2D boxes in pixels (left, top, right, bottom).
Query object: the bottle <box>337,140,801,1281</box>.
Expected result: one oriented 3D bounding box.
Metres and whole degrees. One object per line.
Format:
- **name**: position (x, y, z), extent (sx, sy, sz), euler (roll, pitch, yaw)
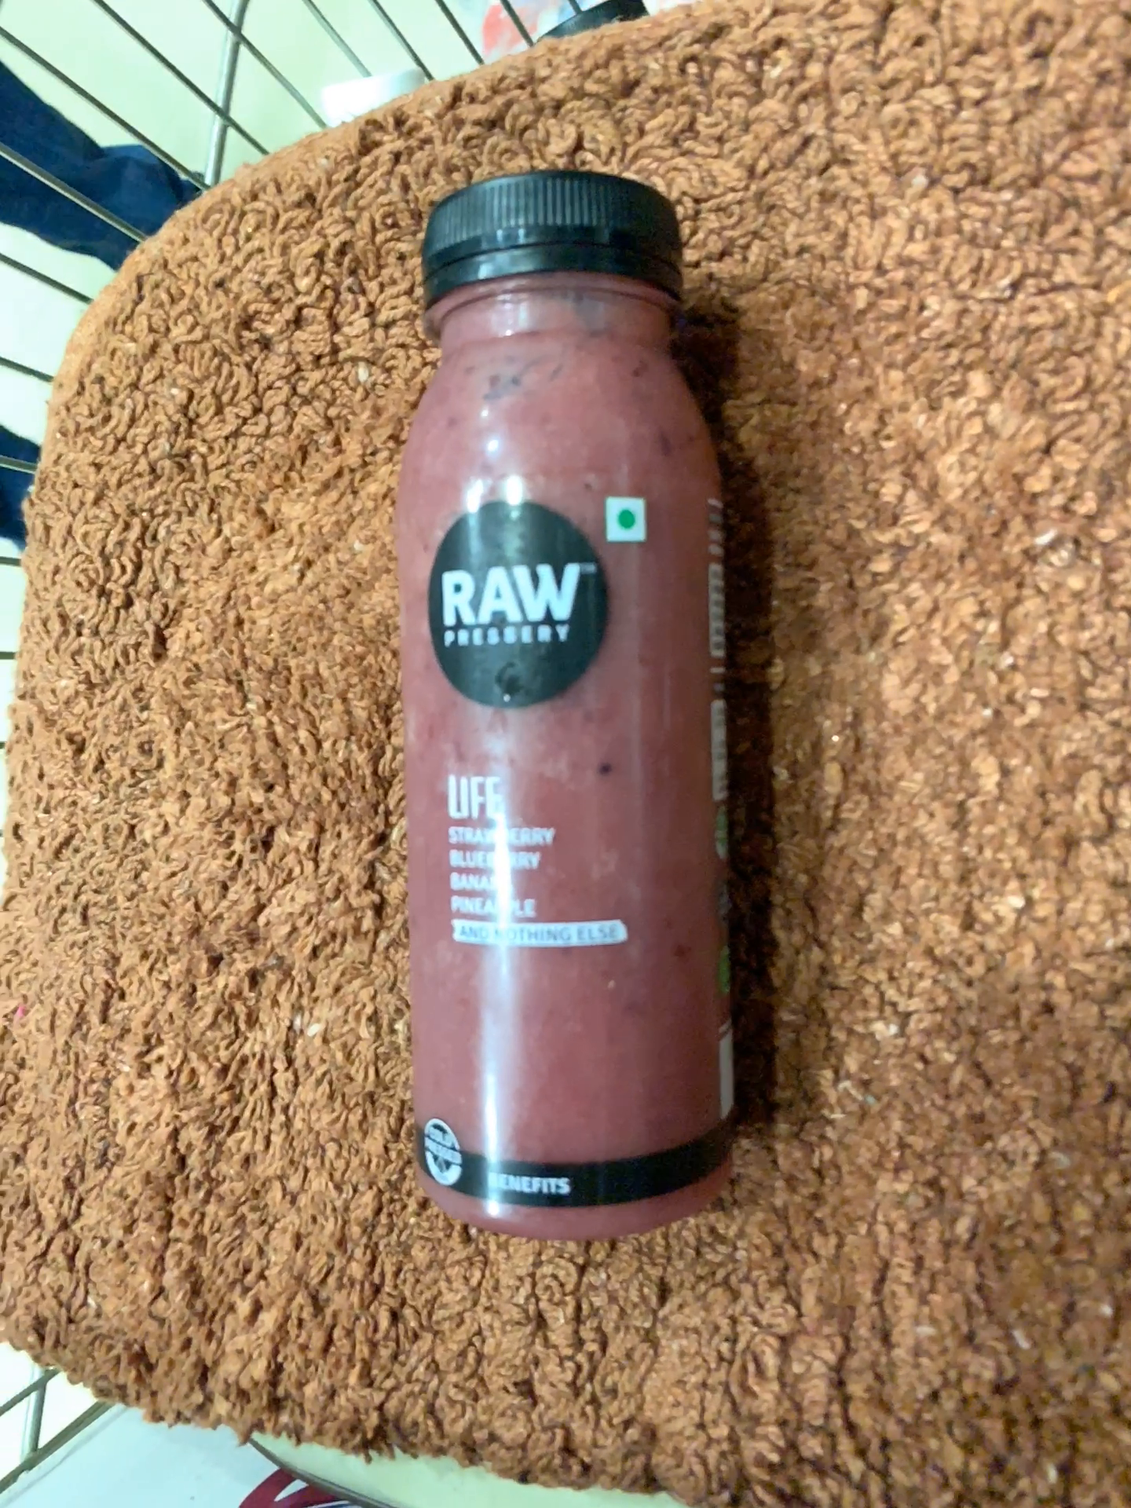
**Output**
- **bottle**: position (0.004, -0.005, 0.186), extent (0.060, 0.050, 0.150), euler (-1, 91, 17)
